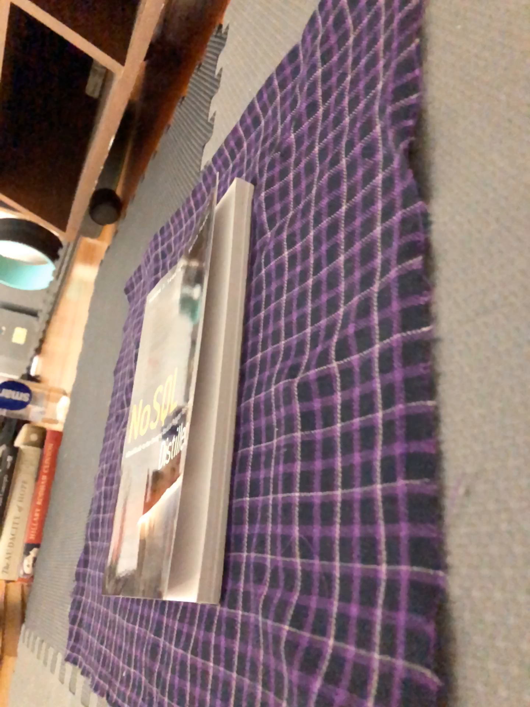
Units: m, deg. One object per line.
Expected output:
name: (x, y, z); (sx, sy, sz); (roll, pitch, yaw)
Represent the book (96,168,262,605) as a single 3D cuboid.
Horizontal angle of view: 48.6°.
book: (-0.062, 0.032, 0.399); (0.191, 0.020, 0.250); (-37, 43, 56)
